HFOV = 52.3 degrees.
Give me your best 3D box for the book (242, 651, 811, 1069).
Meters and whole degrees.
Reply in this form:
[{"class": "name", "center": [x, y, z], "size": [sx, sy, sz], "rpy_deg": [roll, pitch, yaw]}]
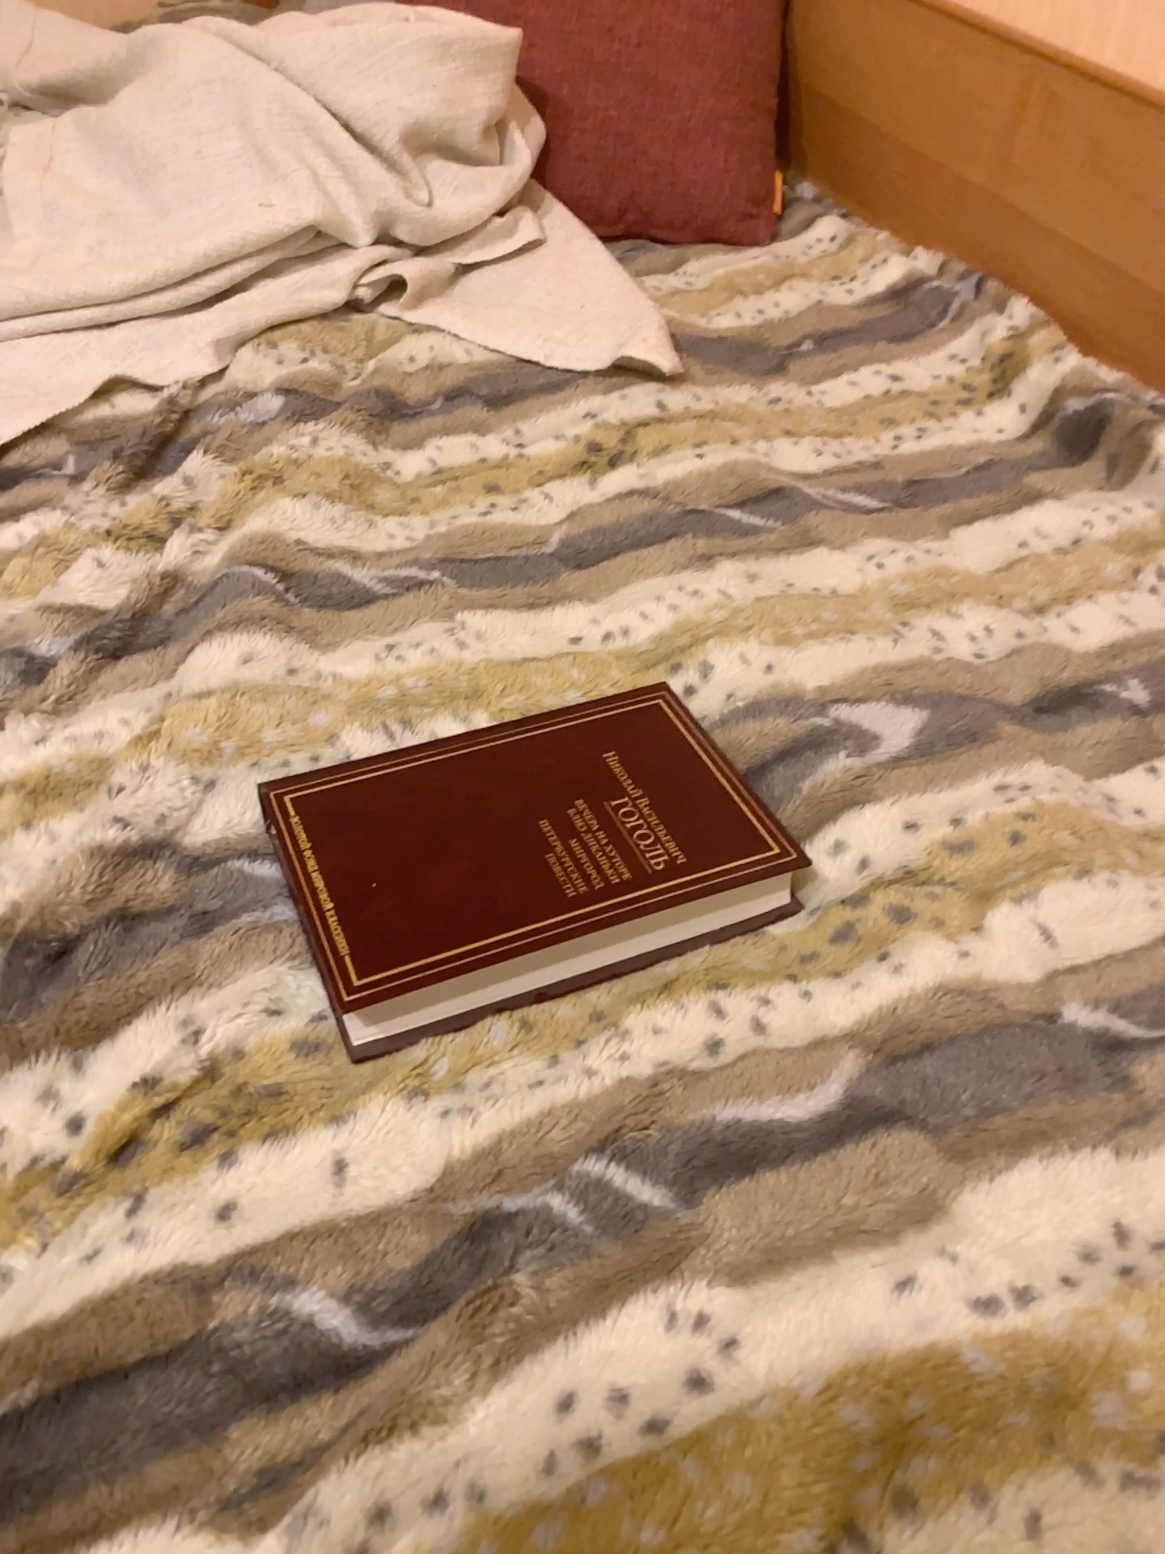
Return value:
[{"class": "book", "center": [-0.029, 0.025, 0.538], "size": [0.210, 0.040, 0.150], "rpy_deg": [-17, 45, -18]}]
